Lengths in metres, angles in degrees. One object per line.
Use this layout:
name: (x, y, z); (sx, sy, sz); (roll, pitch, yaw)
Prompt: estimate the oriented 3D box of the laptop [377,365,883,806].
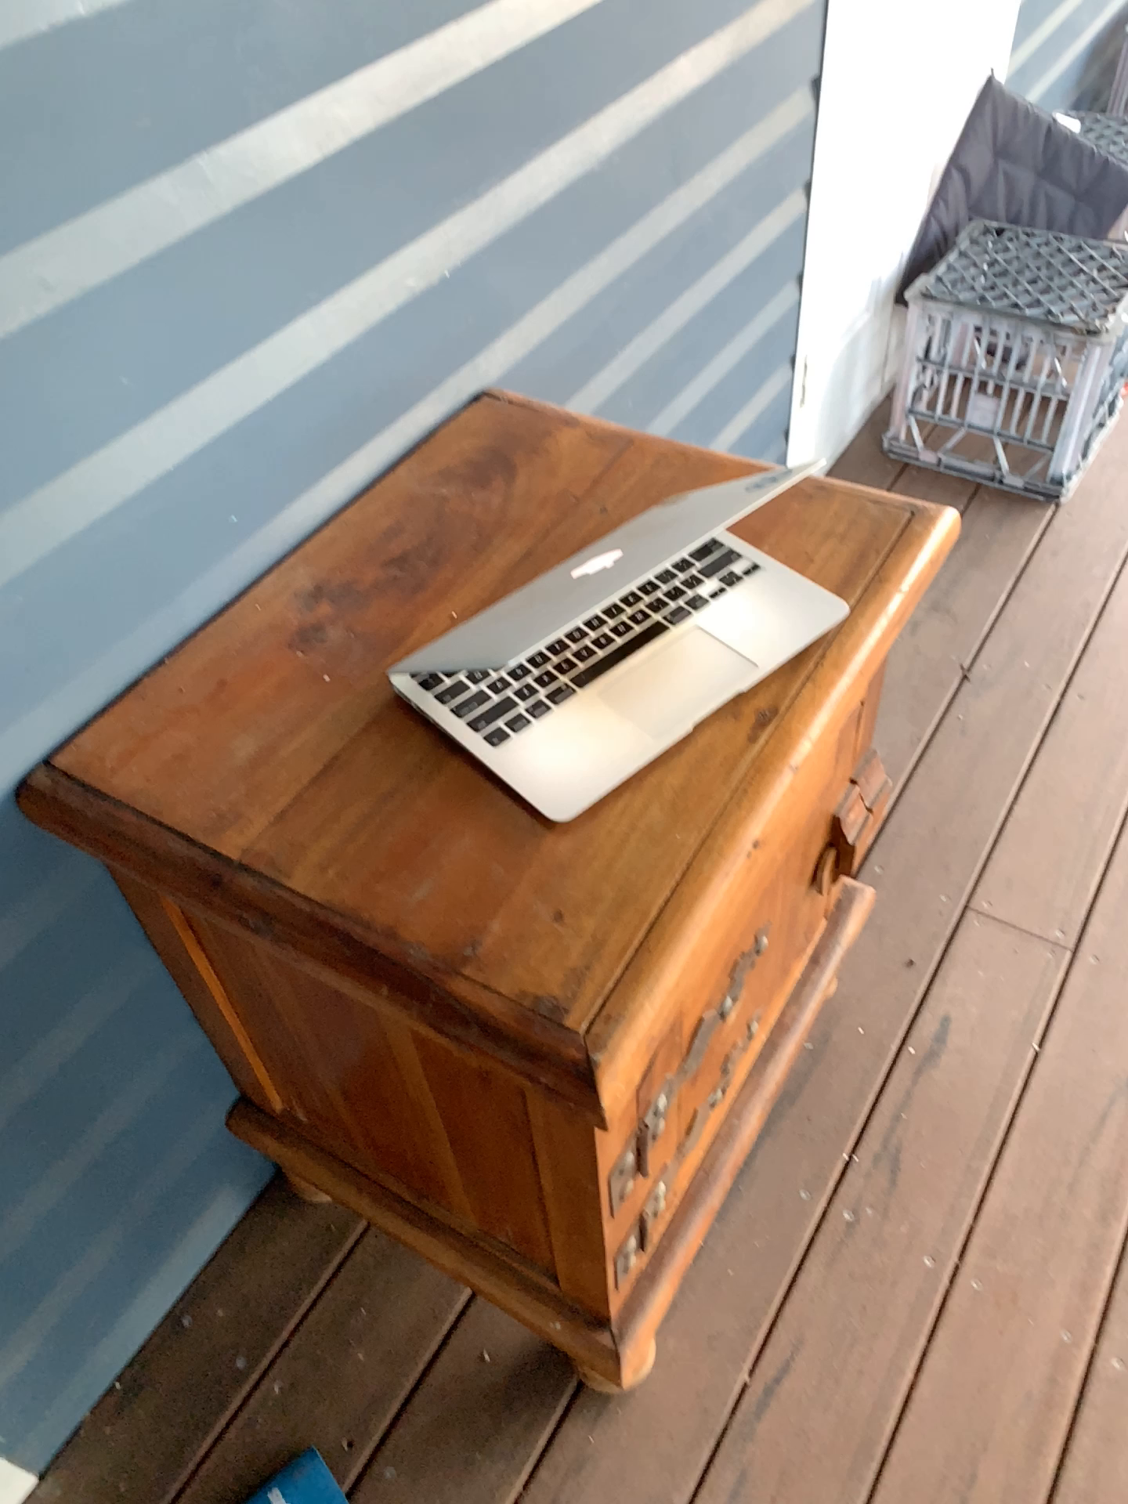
laptop: (0.049, -0.125, 0.780); (0.282, 0.099, 0.180); (-37, 55, -23)
